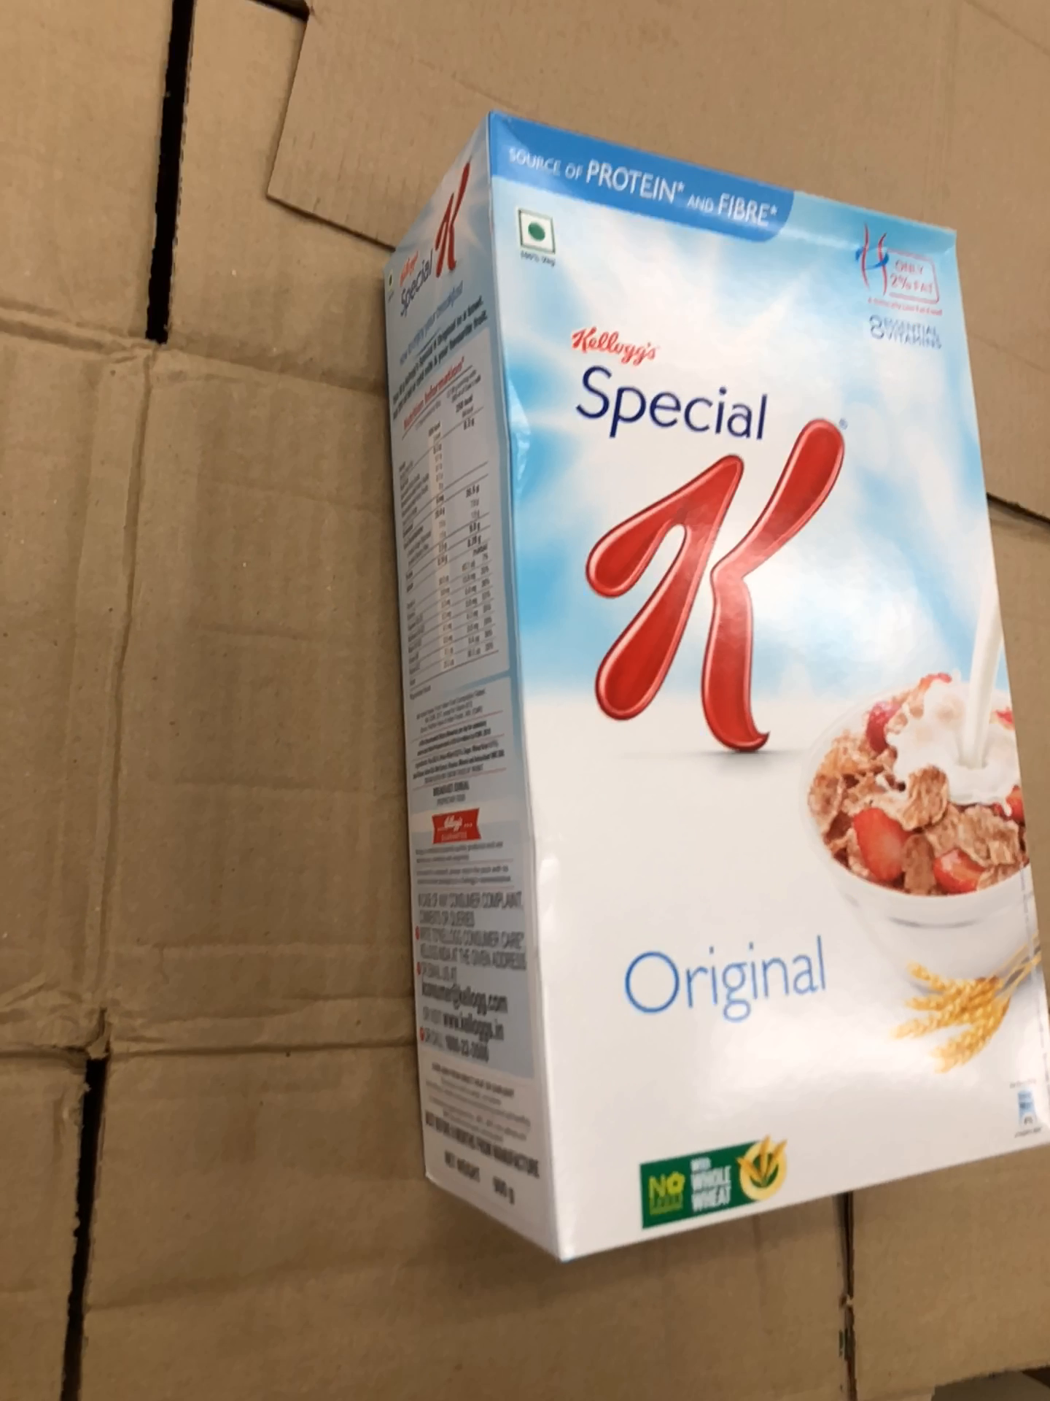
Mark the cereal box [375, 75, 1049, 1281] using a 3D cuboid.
[{"bbox_3d":[0.061,-0.008,0.368,0.181,0.100,0.300,1,81,-27],"label":"cereal box"}]
